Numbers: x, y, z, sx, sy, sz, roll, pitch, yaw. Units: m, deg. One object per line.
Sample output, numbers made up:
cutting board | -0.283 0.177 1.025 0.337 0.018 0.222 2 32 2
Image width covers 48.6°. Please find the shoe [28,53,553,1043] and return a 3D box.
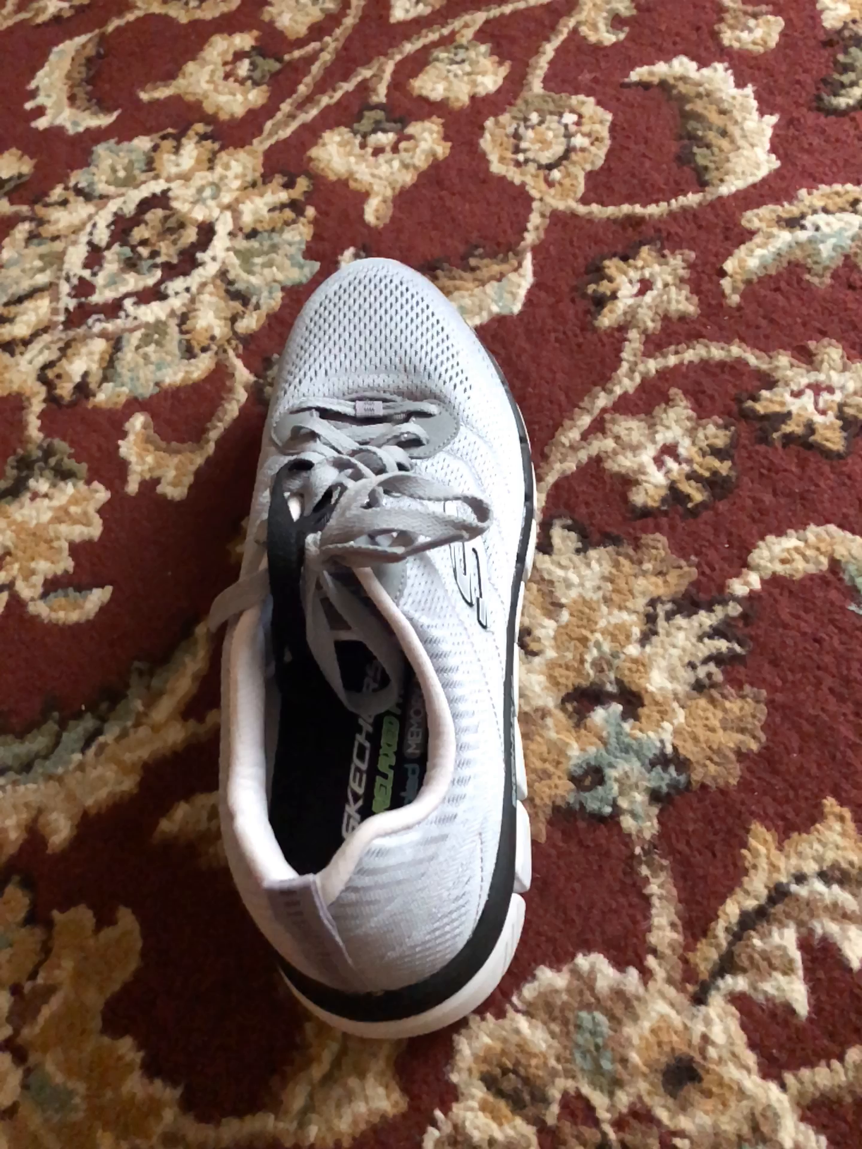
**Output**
shoe | -0.022 -0.014 0.320 0.100 0.130 0.300 -5 60 9
